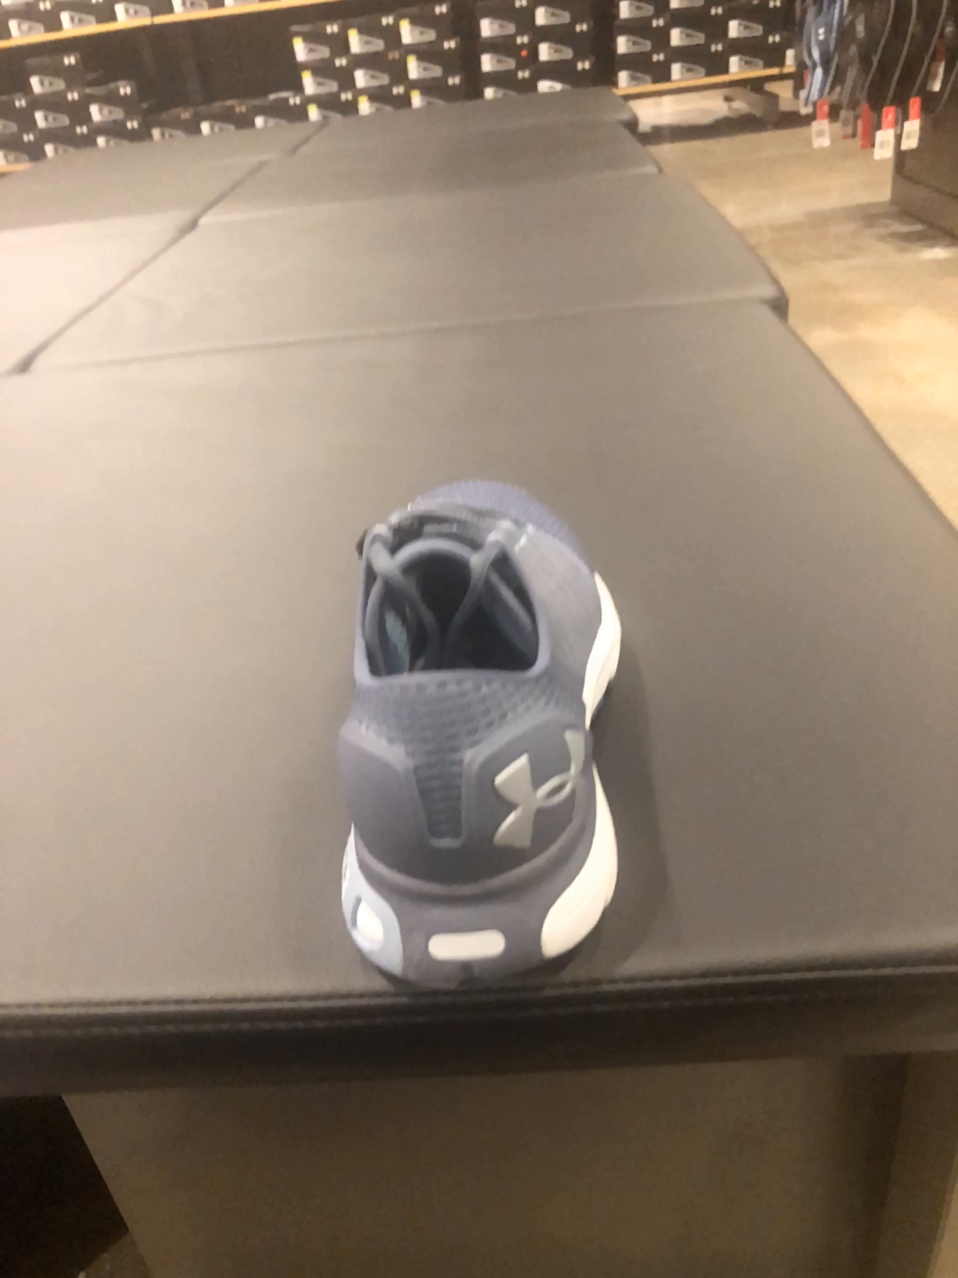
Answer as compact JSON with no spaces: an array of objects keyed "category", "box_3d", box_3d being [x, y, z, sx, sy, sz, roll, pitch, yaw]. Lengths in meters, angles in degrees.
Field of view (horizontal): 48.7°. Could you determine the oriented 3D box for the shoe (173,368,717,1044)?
[{"category":"shoe","box_3d":[0.001,-0.002,0.365,0.120,0.097,0.255,-4,31,5]}]
